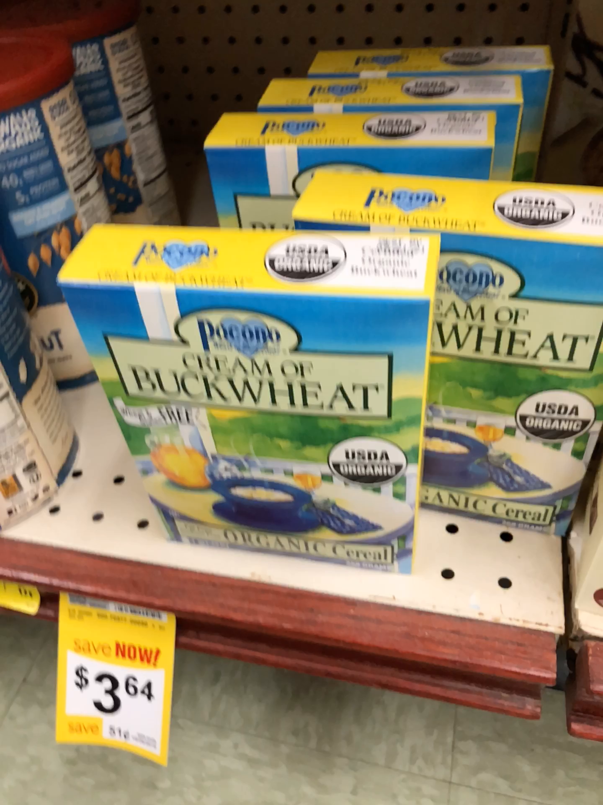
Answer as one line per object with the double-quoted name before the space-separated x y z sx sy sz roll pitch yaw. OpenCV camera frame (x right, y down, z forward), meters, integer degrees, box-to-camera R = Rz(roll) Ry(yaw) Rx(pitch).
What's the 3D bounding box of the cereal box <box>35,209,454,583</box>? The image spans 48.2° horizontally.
"cereal box" -0.013 0.004 0.269 0.130 0.150 0.040 5 44 11
